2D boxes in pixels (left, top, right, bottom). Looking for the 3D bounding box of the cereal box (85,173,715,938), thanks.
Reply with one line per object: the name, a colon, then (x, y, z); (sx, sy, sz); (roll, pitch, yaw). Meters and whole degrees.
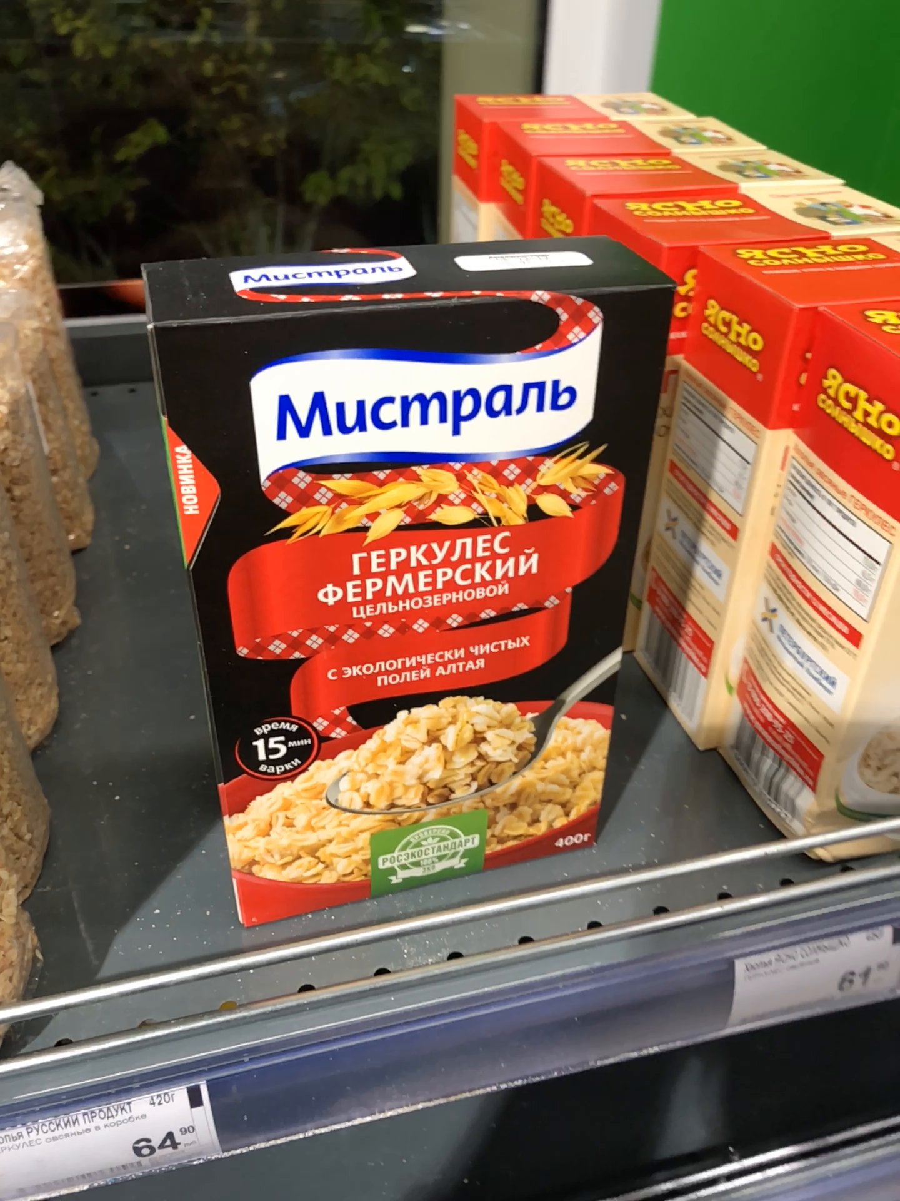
cereal box: (-0.015, -0.003, 0.300); (0.140, 0.219, 0.050); (-9, 38, -15)
